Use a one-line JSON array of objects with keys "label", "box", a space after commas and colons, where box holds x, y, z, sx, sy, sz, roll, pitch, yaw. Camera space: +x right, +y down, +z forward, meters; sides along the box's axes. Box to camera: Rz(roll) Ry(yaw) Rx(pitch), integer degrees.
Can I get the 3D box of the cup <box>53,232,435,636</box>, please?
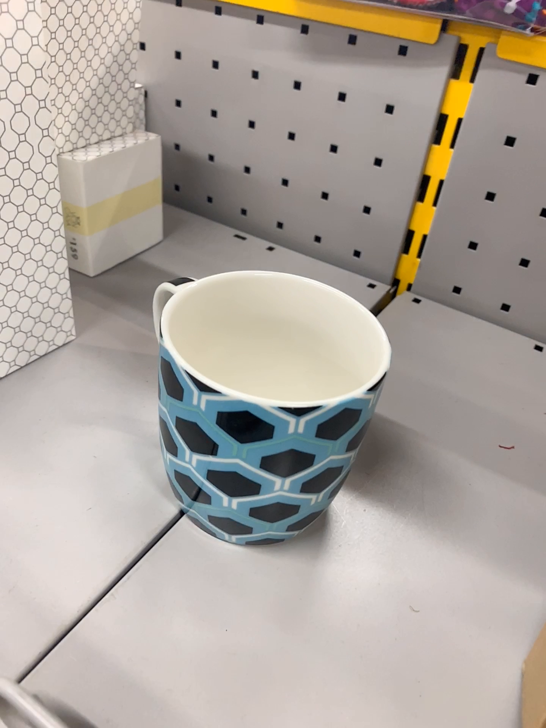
[{"label": "cup", "box": [-0.019, 0.018, 0.240, 0.090, 0.090, 0.120, -22, 47, -33]}]
